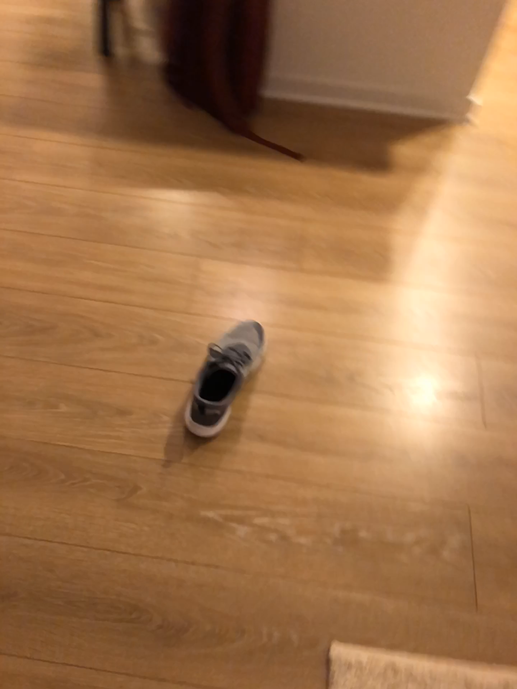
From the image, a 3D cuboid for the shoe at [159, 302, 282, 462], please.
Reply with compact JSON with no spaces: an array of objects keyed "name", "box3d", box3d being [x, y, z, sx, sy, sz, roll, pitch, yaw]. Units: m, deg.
[{"name":"shoe","box3d":[-0.074,0.071,1.220,0.140,0.080,0.321,19,57,10]}]
